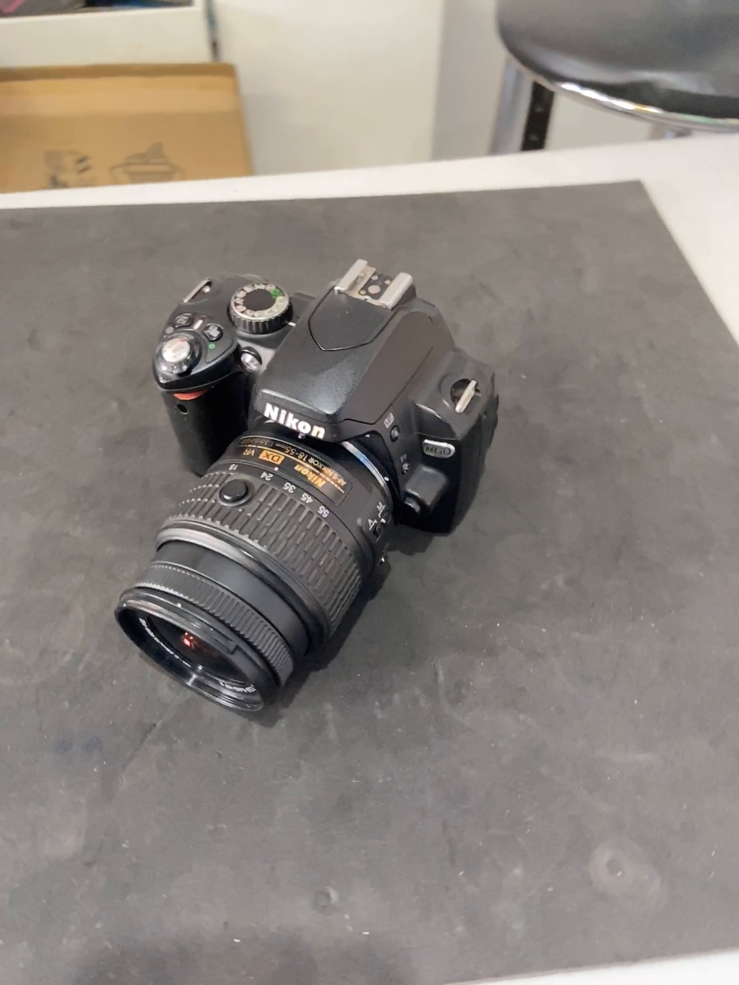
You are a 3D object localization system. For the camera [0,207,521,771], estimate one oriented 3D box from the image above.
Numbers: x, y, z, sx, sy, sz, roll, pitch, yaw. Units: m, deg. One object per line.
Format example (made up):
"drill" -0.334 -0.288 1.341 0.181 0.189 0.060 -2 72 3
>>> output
"camera" -0.037 -0.009 0.269 0.129 0.088 0.141 20 56 17
